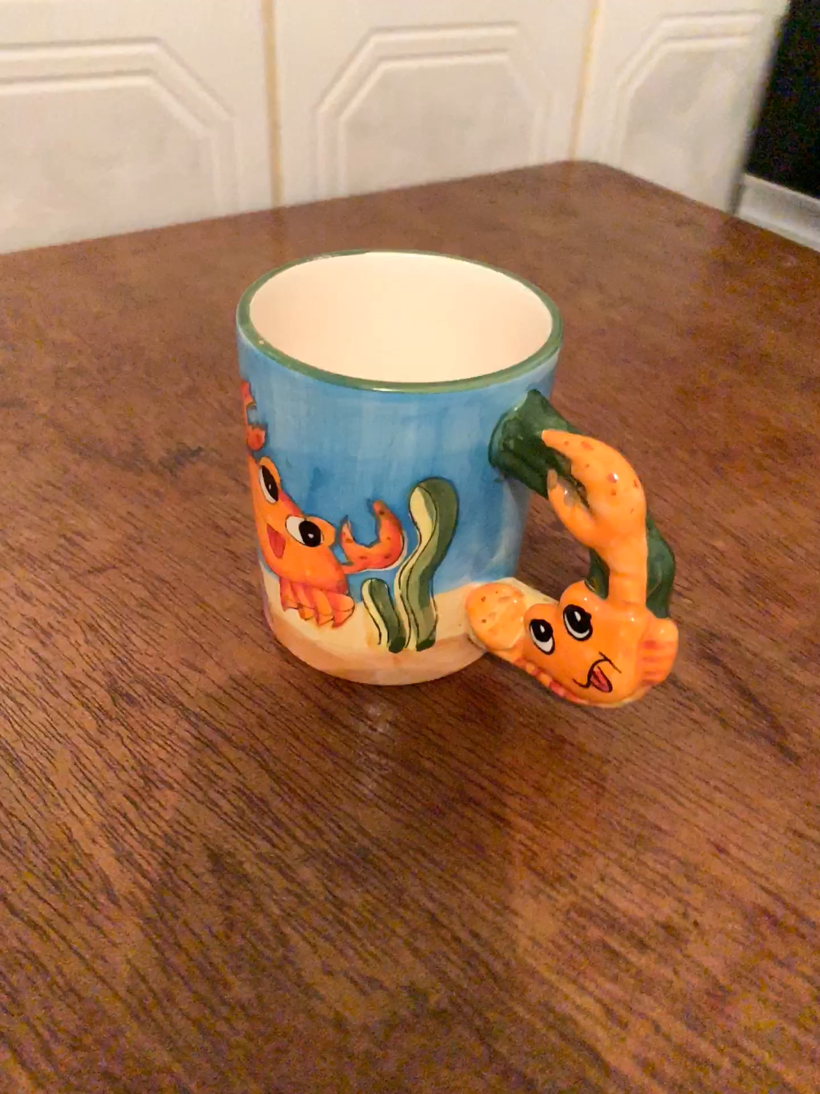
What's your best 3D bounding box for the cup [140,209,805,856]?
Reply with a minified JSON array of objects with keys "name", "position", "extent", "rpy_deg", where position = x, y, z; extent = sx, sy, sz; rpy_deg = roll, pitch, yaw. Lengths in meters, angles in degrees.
[{"name":"cup","position":[0.009,-0.013,0.226],"extent":[0.130,0.099,0.080],"rpy_deg":[31,46,29]}]
